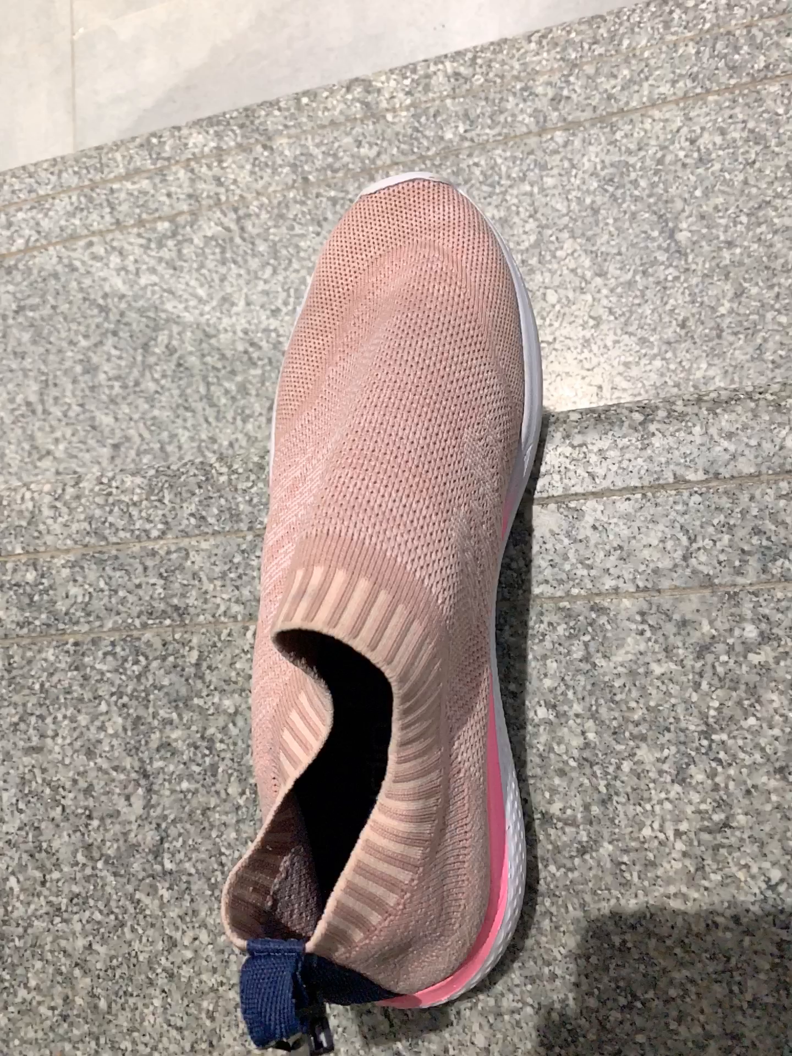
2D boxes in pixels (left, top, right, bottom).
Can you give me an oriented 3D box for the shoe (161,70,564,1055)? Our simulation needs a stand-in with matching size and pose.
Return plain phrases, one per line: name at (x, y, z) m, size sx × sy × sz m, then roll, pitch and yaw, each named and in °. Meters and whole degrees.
shoe at (-0.003, 0.006, 0.259) m, size 0.100 × 0.080 × 0.250 m, roll -1°, pitch 83°, yaw 17°
